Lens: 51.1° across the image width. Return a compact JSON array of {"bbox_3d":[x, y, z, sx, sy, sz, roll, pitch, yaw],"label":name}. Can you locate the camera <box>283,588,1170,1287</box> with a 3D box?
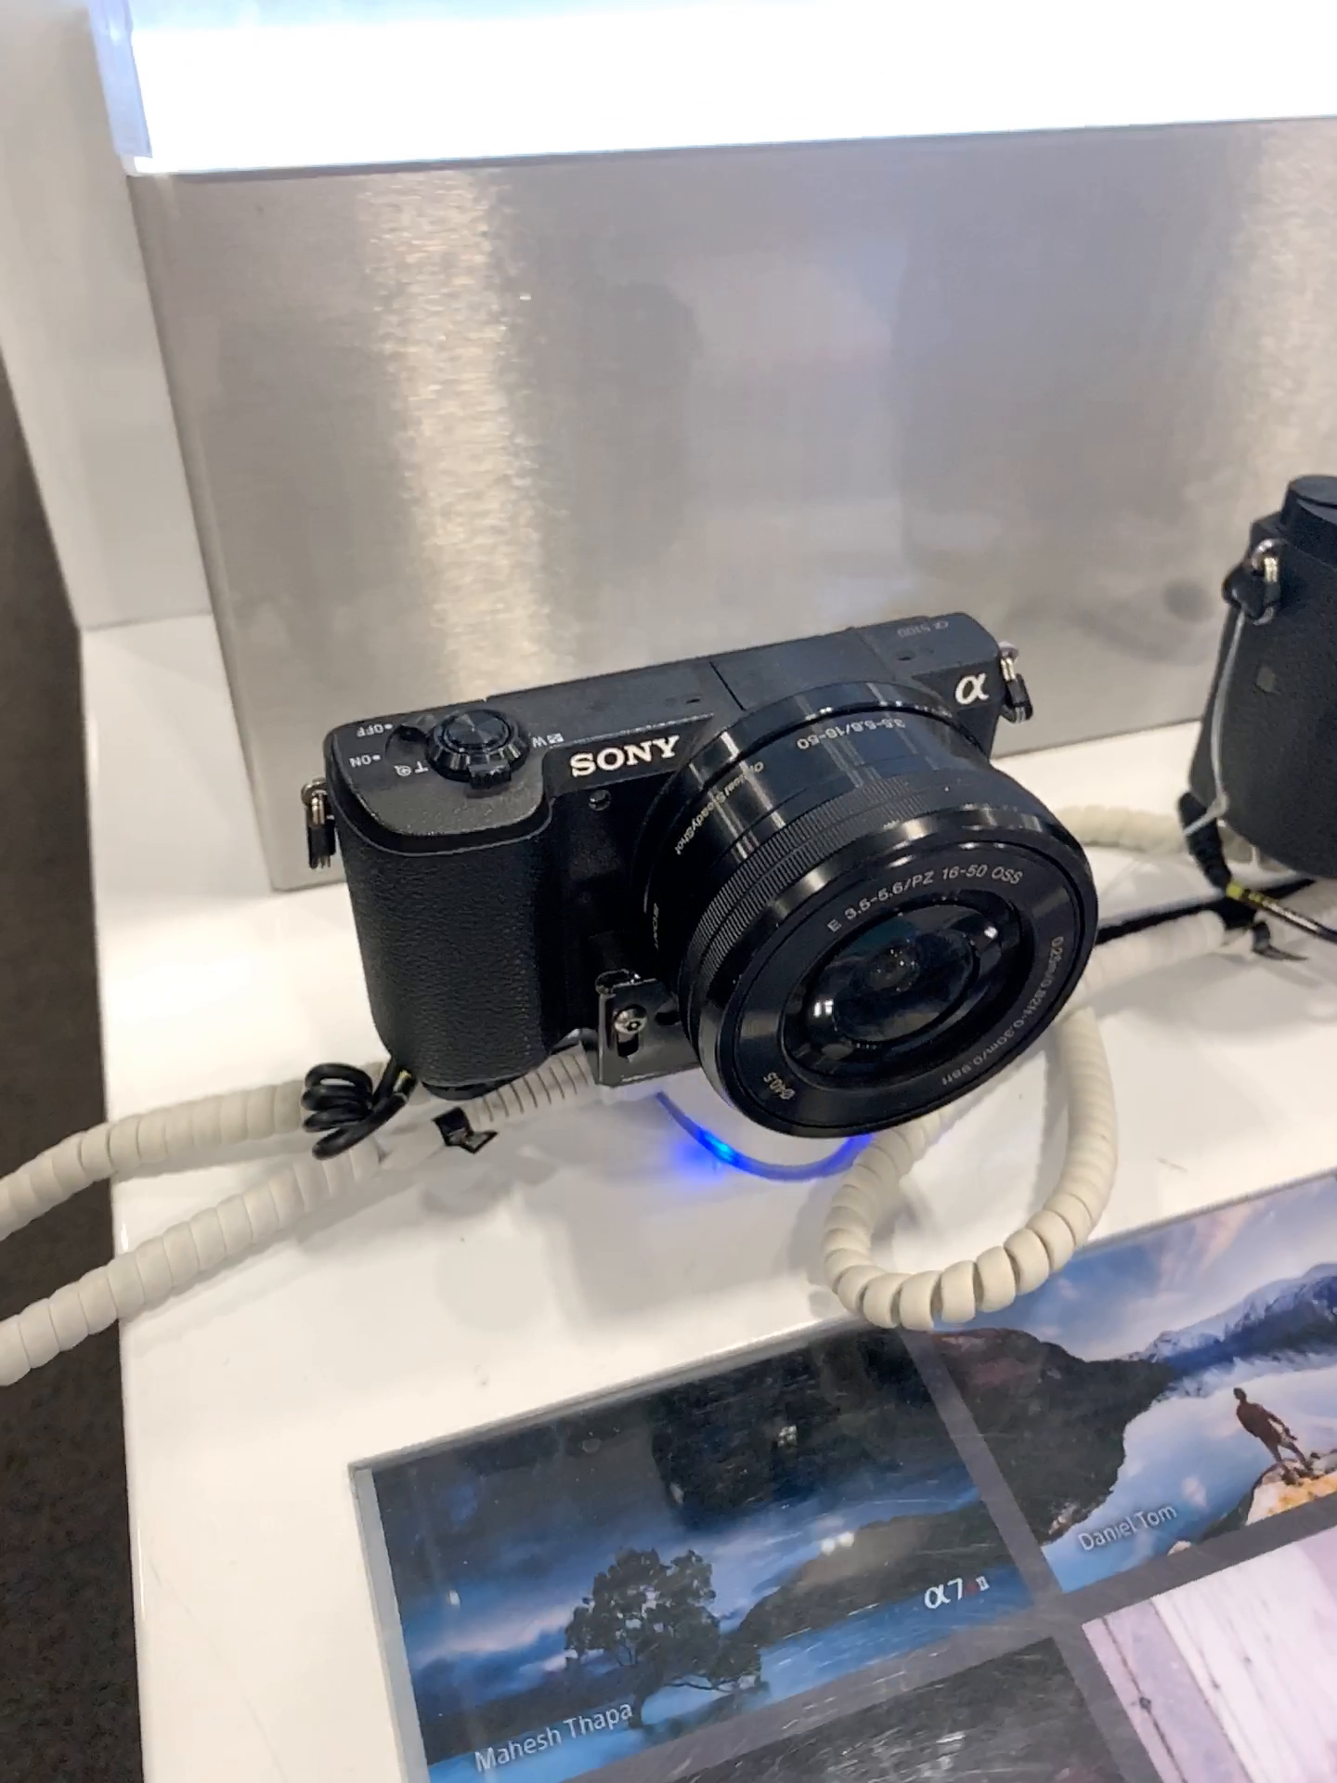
[{"bbox_3d":[0.005,0.003,0.223,0.112,0.060,0.066,-13,45,-17],"label":"camera"}]

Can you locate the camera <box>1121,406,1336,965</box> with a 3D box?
[{"bbox_3d":[0.169,-0.043,0.259,0.136,0.060,0.071,-9,39,-13],"label":"camera"}]
